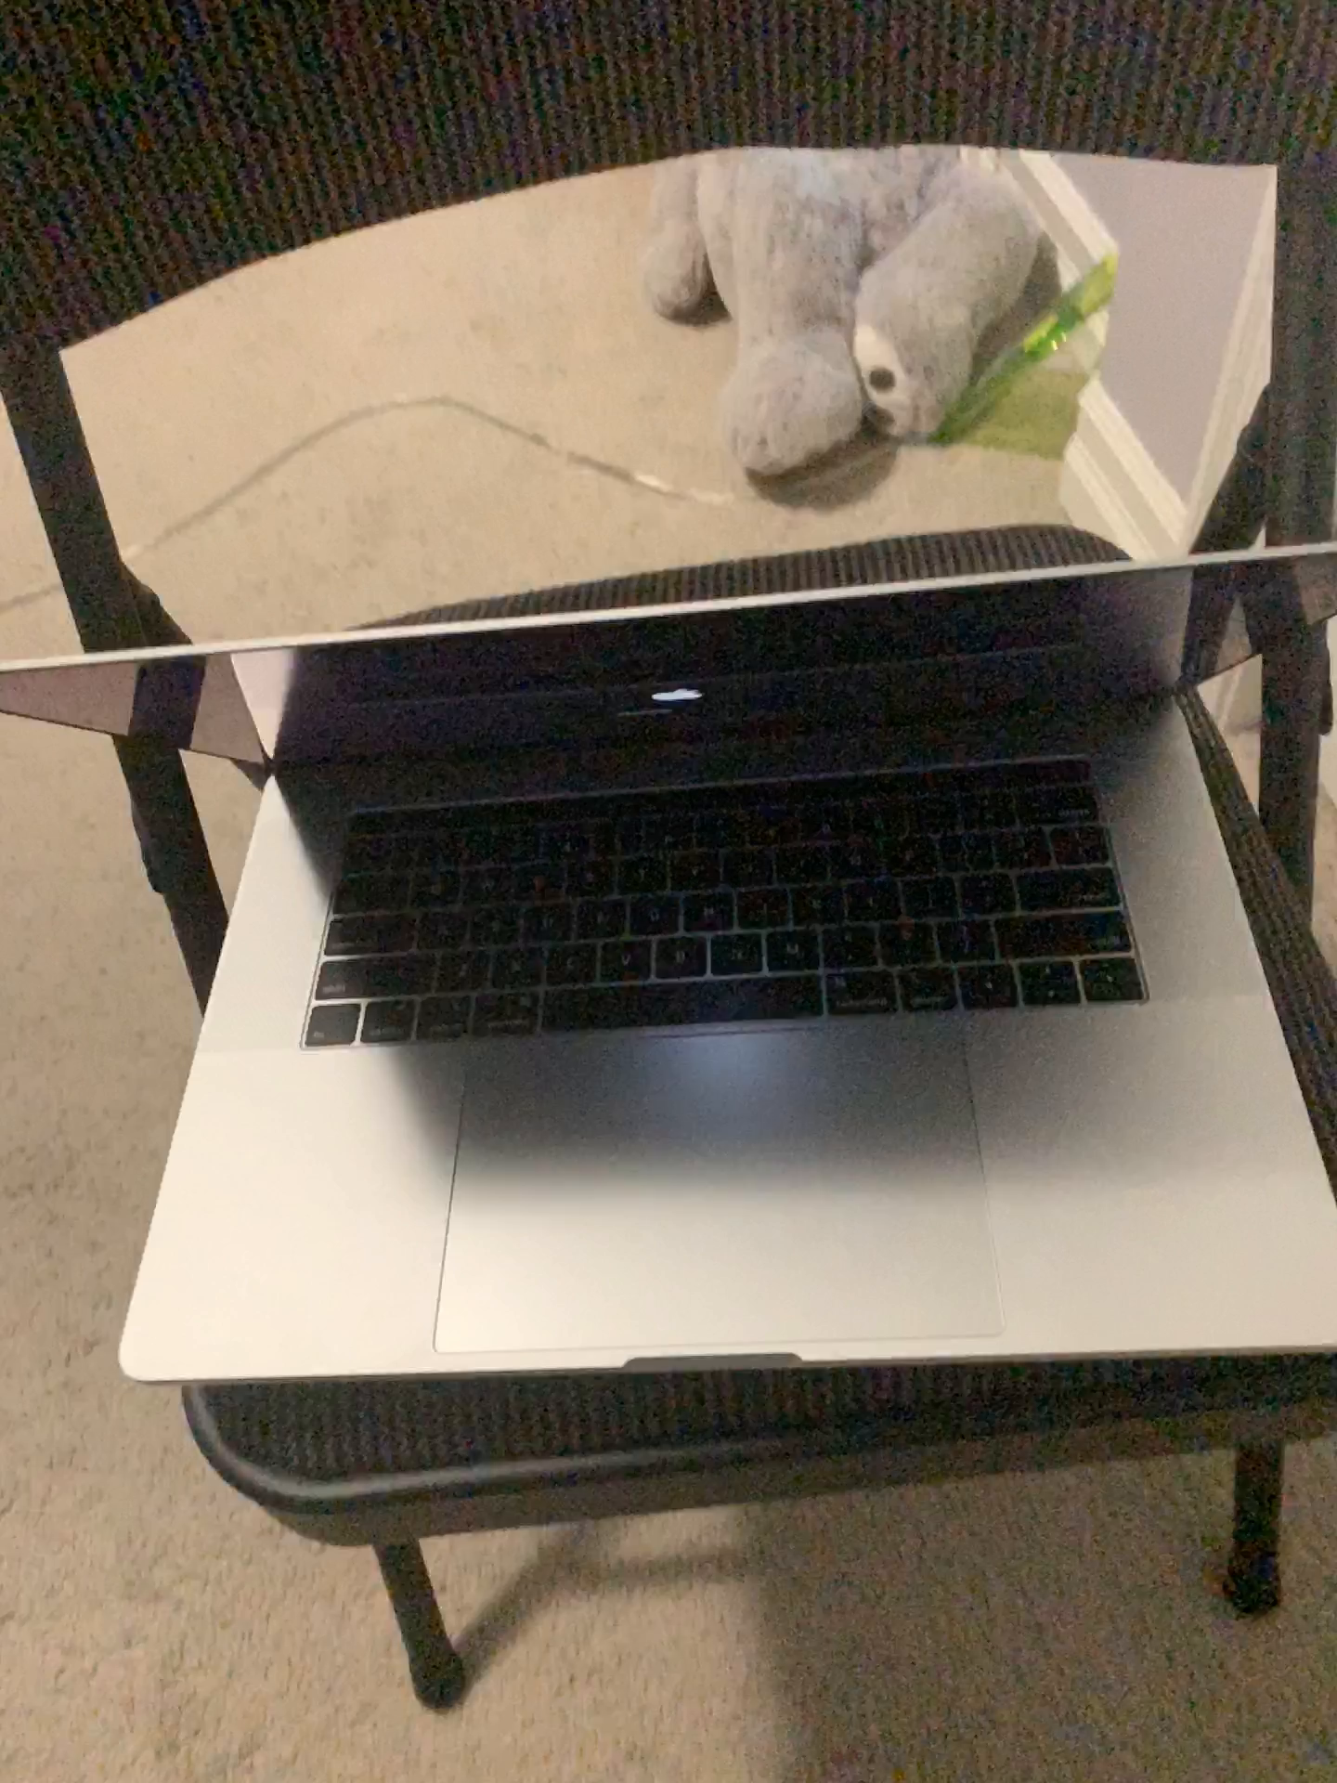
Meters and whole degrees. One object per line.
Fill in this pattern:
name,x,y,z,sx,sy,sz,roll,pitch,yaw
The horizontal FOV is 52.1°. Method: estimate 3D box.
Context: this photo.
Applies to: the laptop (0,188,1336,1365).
laptop,0.010,-0.020,0.370,0.334,0.188,0.232,-4,53,7
